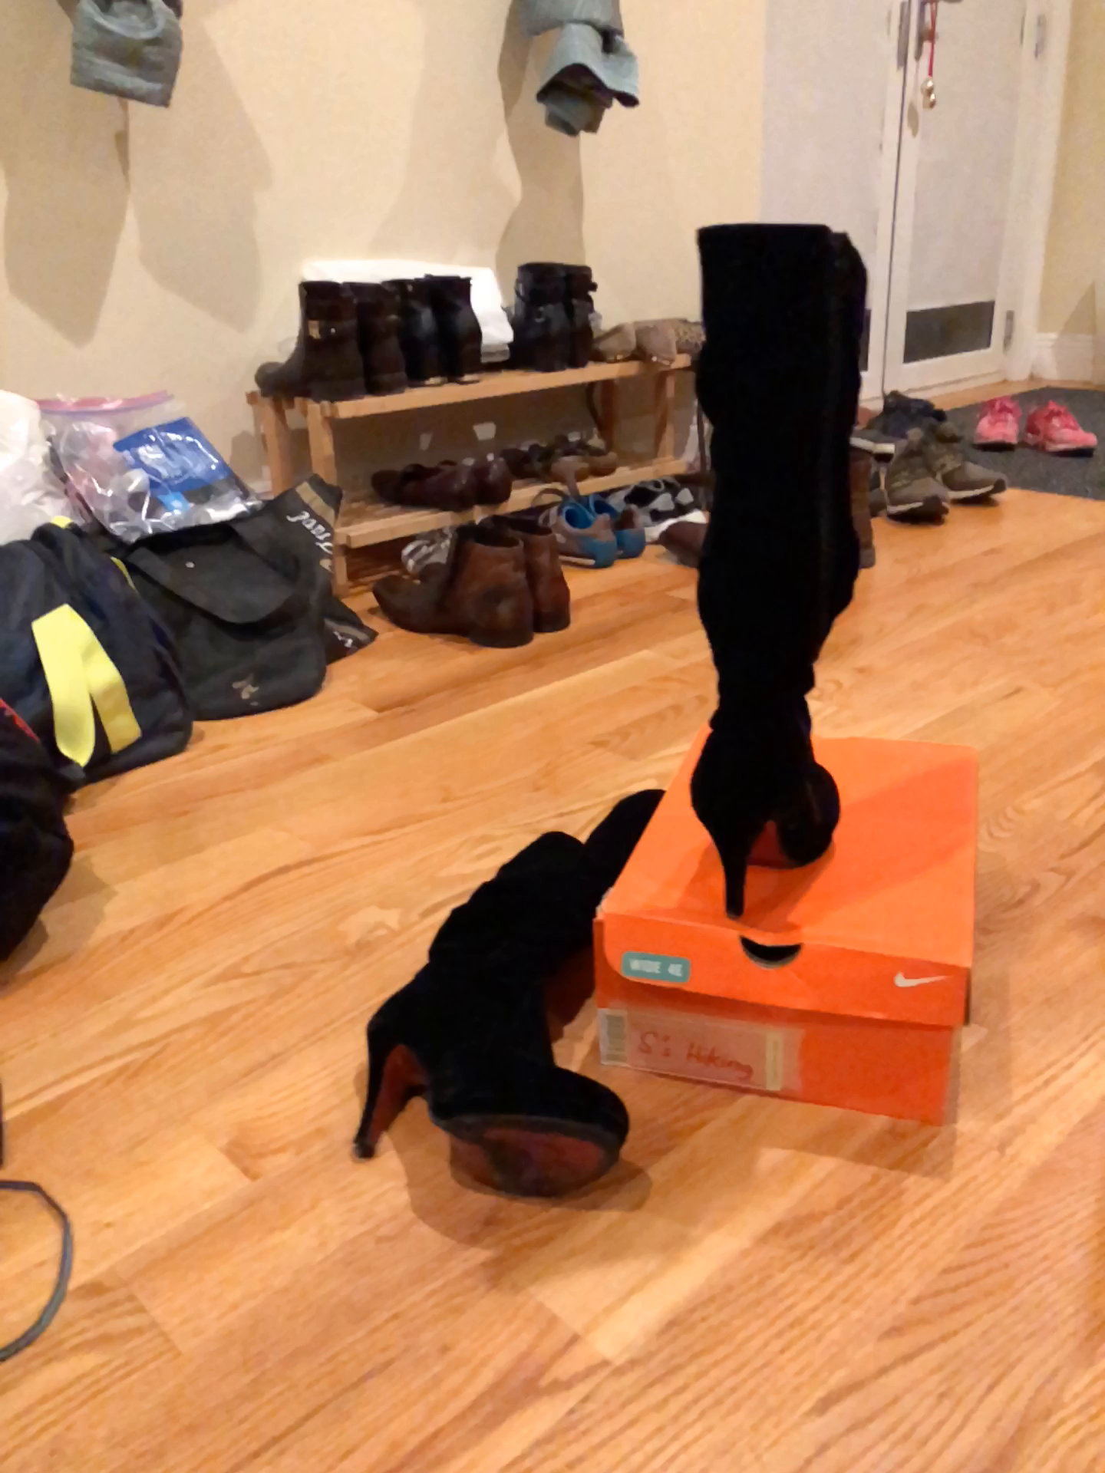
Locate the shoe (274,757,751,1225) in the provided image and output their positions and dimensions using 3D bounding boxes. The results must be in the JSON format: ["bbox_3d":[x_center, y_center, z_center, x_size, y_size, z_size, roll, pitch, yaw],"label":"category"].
[{"bbox_3d":[0.004,0.141,0.843,0.206,0.089,0.401,4,23,17],"label":"shoe"}]

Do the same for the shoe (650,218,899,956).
[{"bbox_3d":[0.137,-0.100,0.743,0.089,0.397,0.217,7,24,22],"label":"shoe"}]
